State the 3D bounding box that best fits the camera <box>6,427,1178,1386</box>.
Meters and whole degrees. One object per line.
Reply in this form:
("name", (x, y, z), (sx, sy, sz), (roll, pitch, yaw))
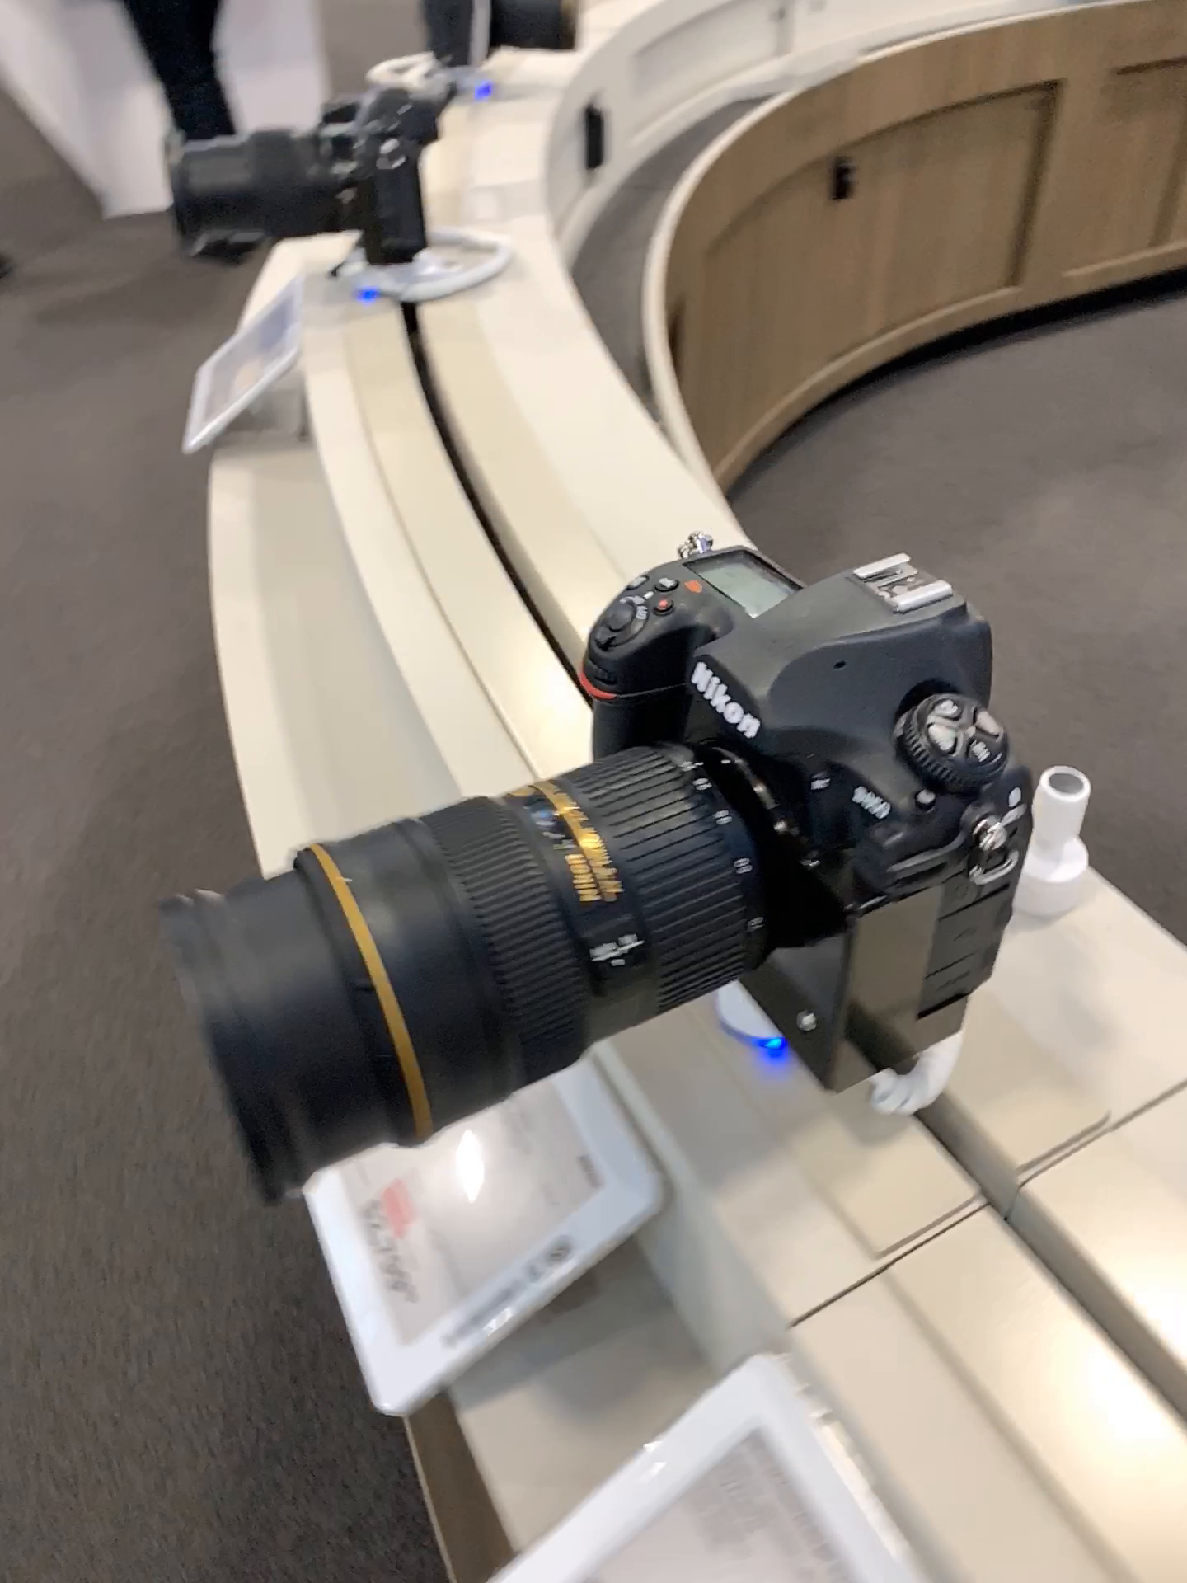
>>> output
("camera", (-0.005, 0.008, 0.336), (0.240, 0.109, 0.161), (-20, 45, -20))
